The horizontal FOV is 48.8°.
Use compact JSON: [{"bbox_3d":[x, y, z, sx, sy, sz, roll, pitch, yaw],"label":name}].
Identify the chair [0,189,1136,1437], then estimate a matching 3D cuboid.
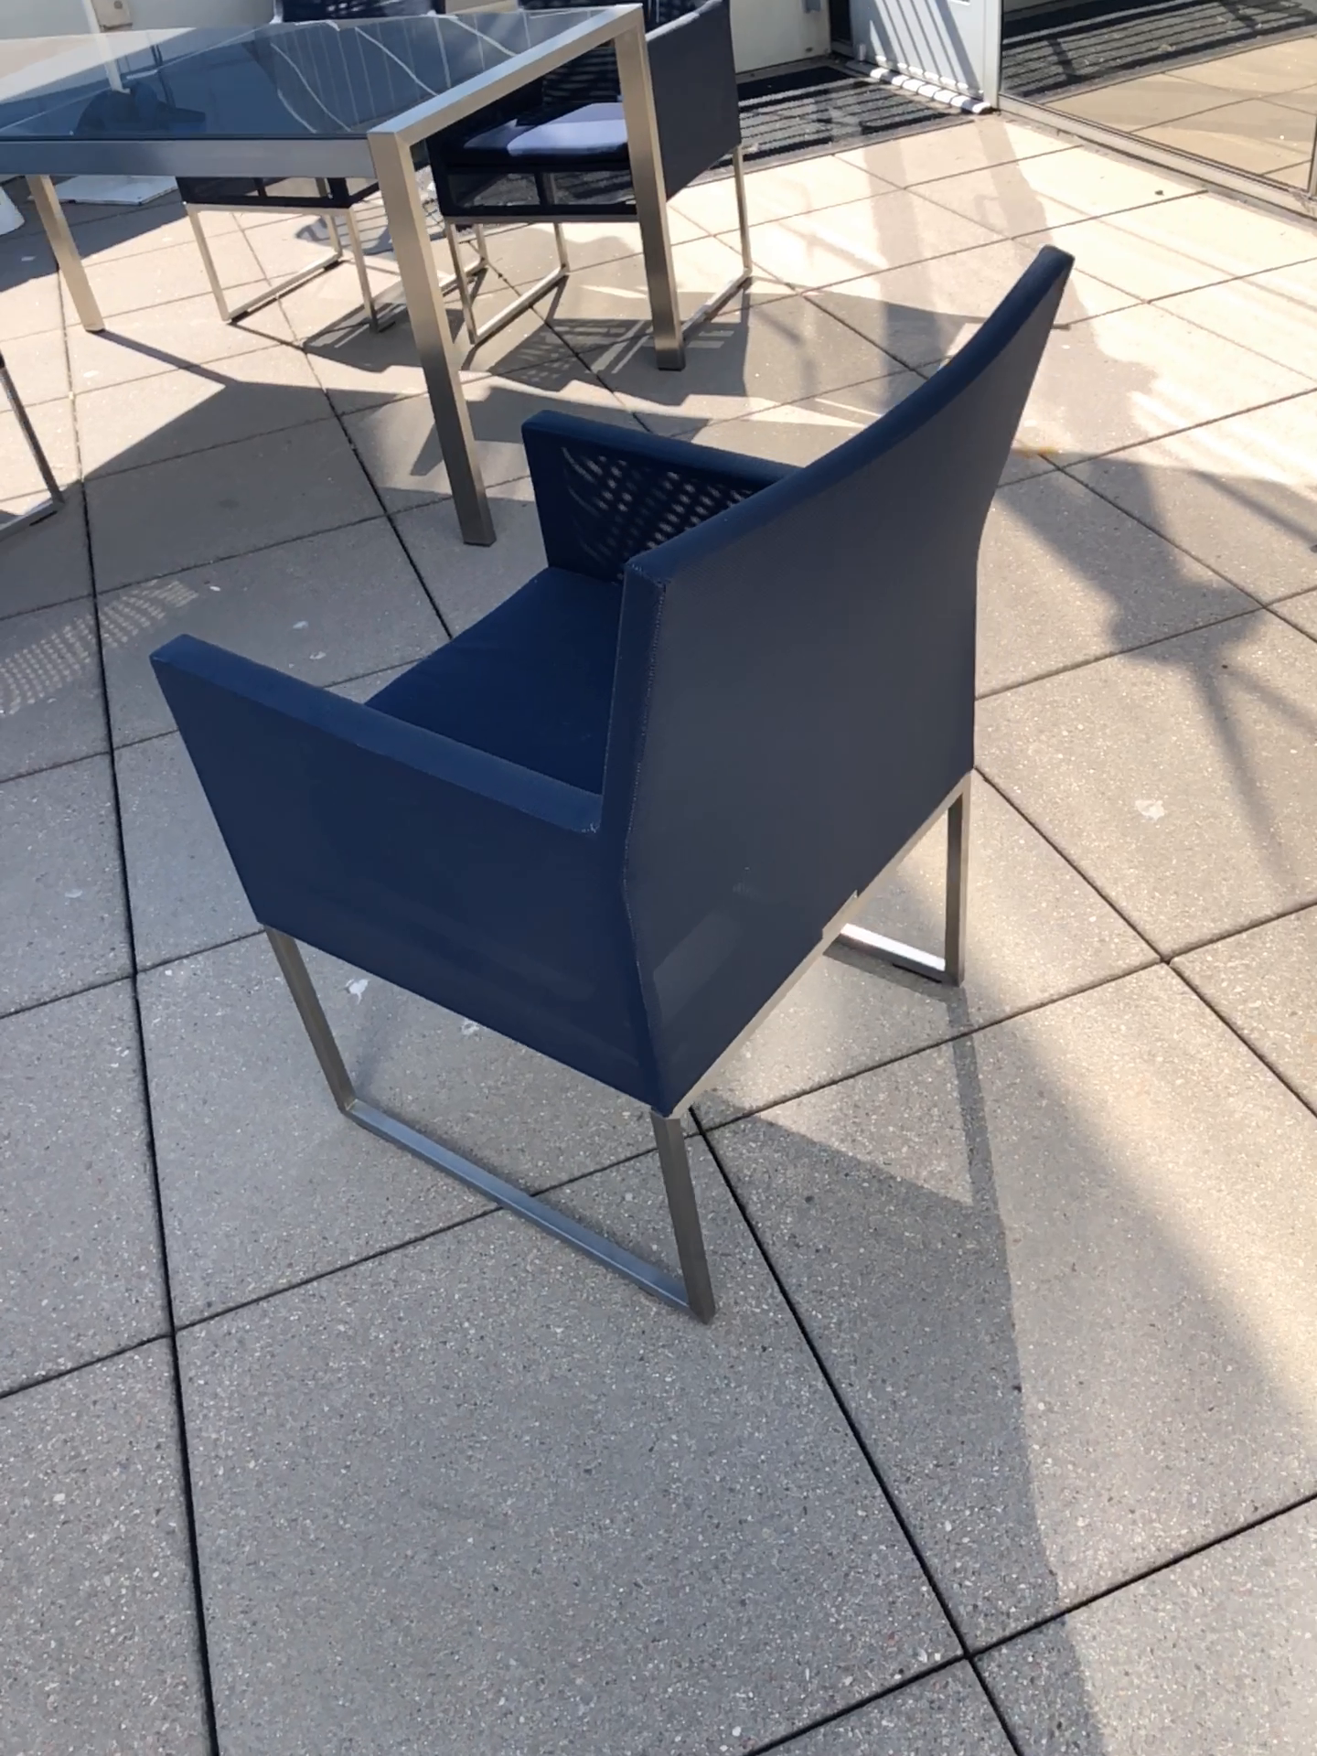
[{"bbox_3d":[-0.043,-0.112,1.343,0.672,0.776,0.651,20,47,31],"label":"chair"}]
